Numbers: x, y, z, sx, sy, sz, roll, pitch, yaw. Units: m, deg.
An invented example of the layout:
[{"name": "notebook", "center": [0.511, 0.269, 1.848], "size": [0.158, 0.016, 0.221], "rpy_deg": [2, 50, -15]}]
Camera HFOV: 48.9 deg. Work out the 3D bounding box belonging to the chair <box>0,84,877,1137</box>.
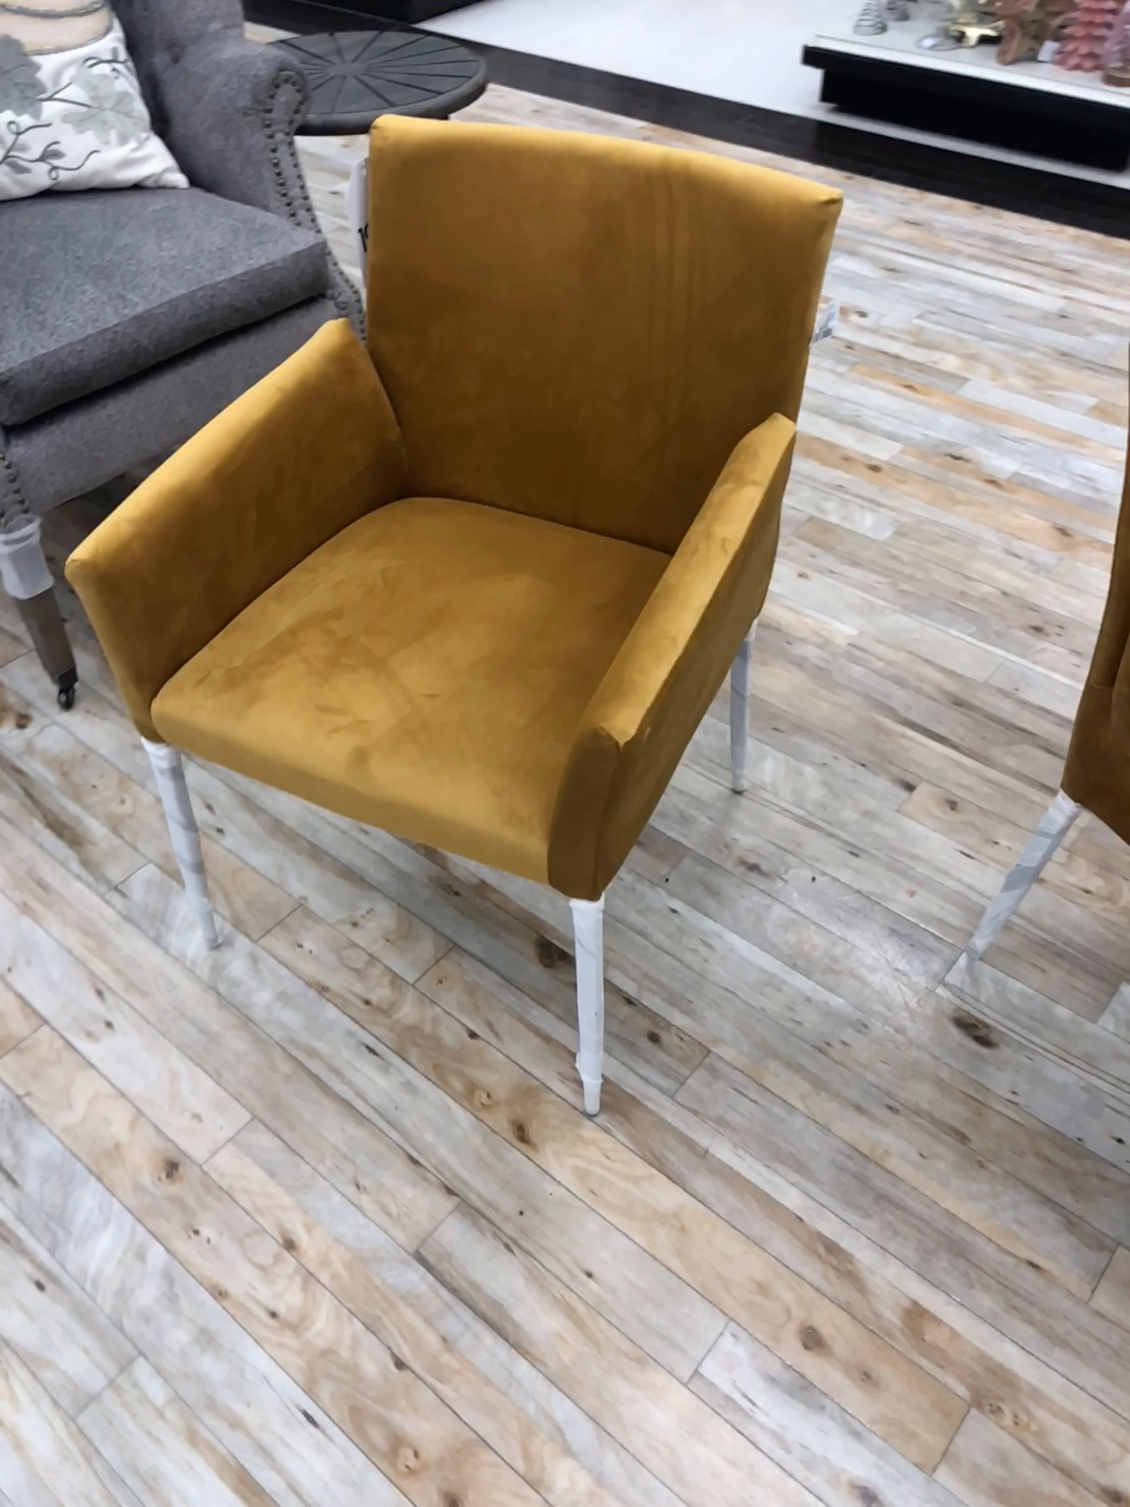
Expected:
[{"name": "chair", "center": [-0.092, -0.145, 1.280], "size": [0.561, 0.797, 0.541], "rpy_deg": [18, 47, 20]}]
